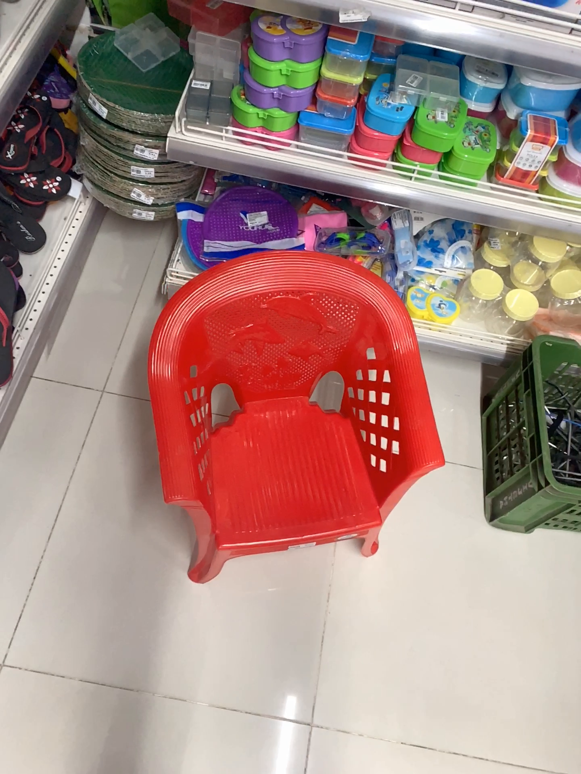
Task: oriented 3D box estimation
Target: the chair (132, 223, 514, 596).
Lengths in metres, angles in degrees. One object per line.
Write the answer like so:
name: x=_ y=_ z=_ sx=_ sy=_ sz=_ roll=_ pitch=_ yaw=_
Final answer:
chair: x=0.000 y=0.061 z=1.093 sx=0.500 sy=0.479 sz=0.491 roll=-5 pitch=63 yaw=-9
